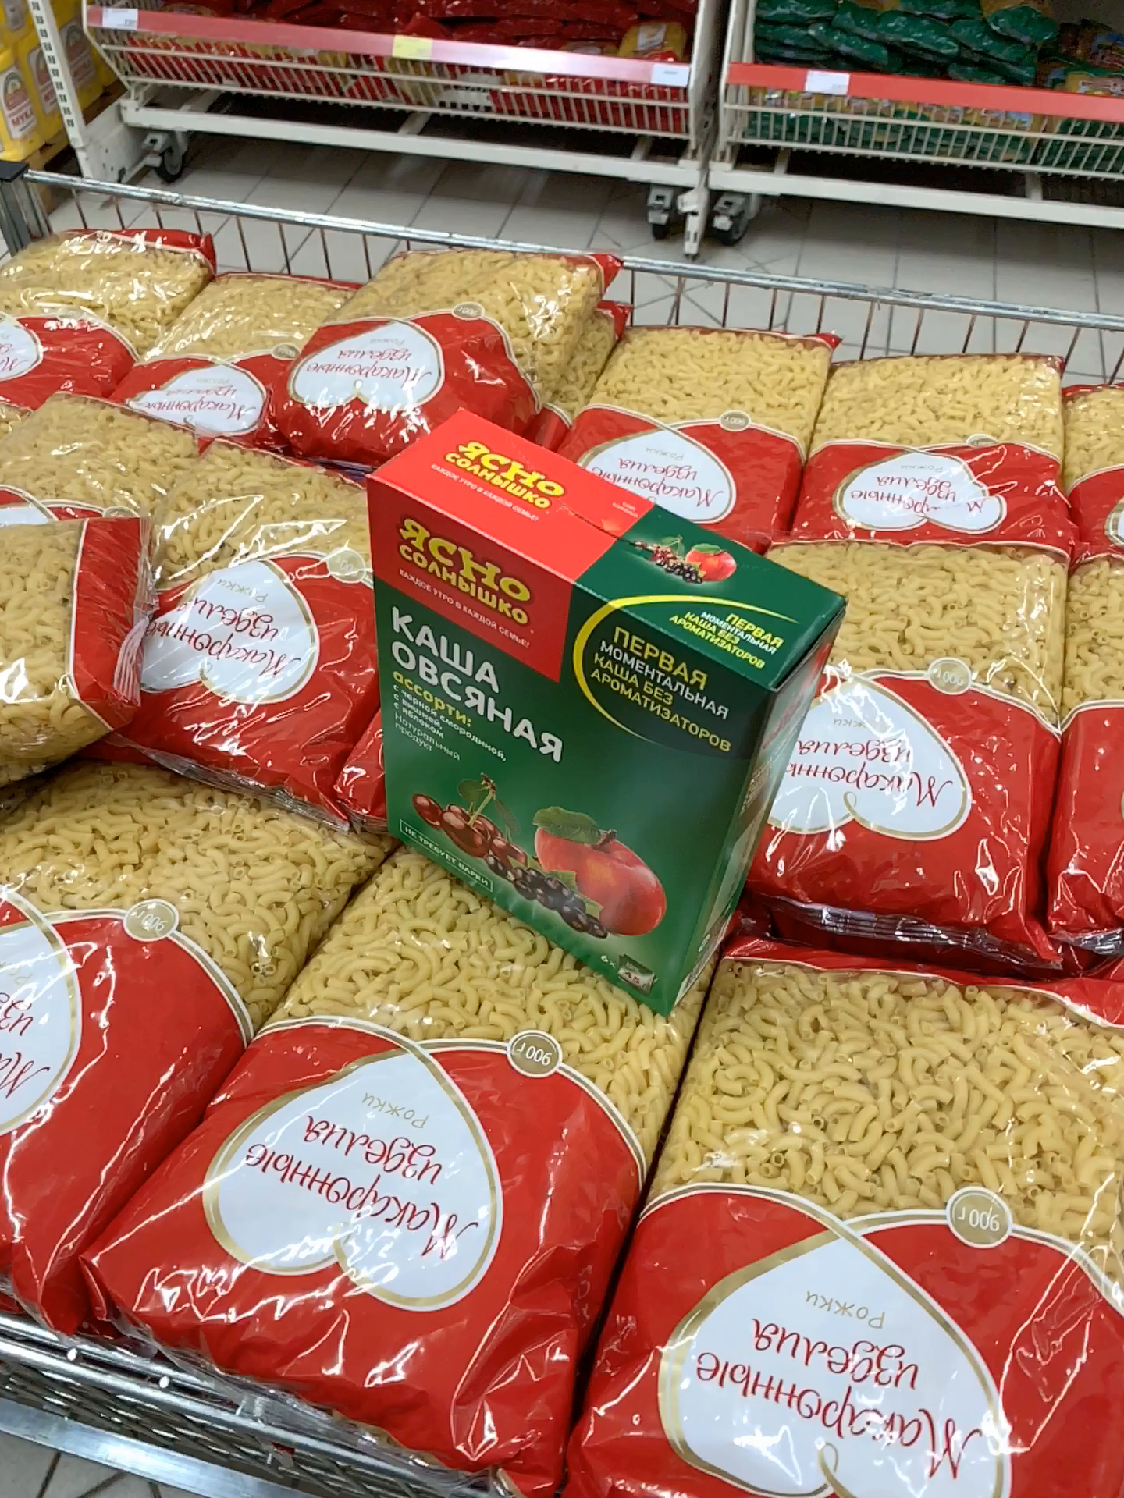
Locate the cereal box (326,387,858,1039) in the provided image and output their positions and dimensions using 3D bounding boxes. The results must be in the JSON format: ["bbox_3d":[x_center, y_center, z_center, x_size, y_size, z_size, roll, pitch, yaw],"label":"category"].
[{"bbox_3d":[-0.002,-0.005,0.431,0.160,0.199,0.060,31,53,19],"label":"cereal box"}]
